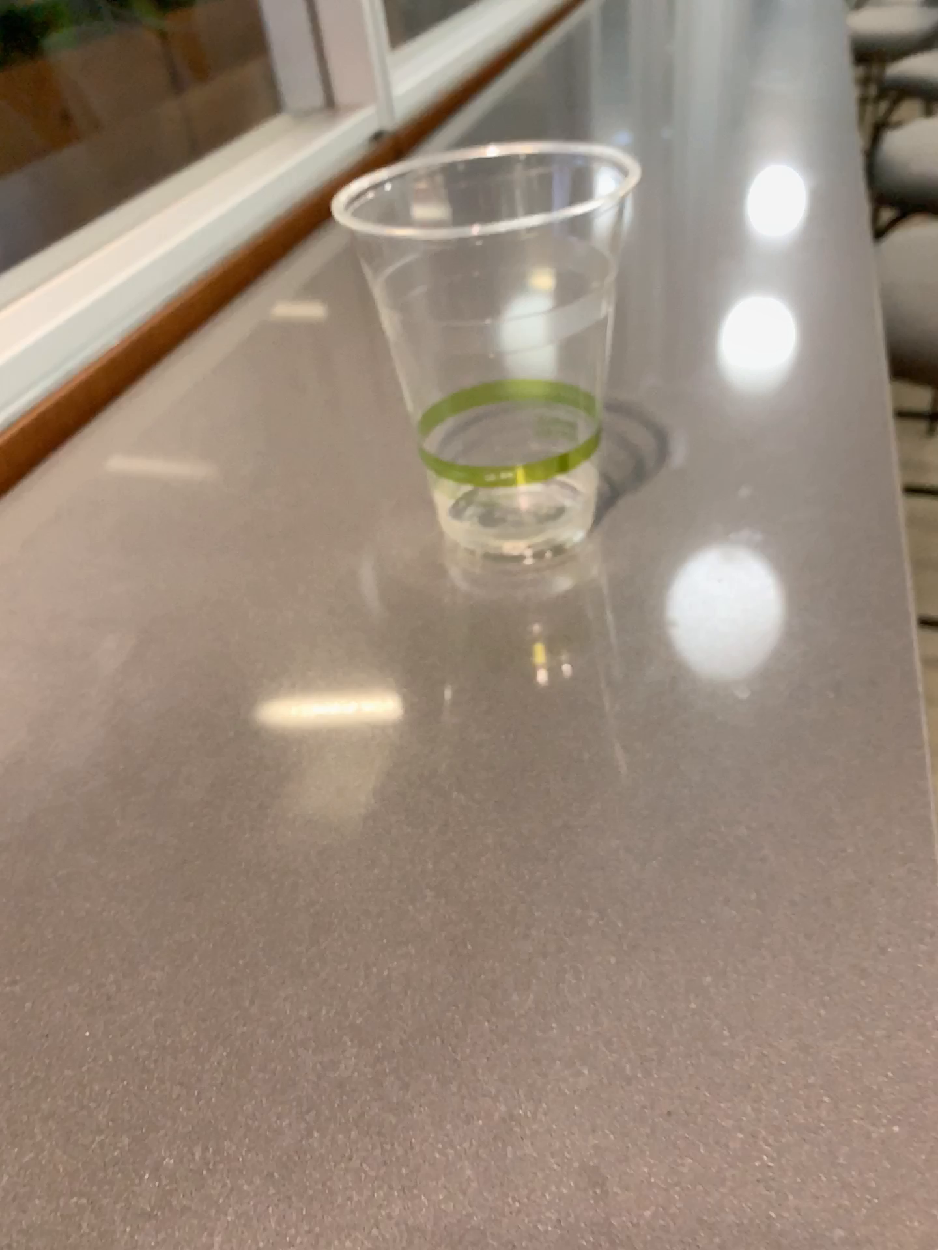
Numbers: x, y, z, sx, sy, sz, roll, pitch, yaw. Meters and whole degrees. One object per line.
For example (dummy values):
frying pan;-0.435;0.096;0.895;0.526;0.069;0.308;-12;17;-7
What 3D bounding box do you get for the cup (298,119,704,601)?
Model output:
cup;0.011;-0.100;0.360;0.100;0.119;0.111;-18;38;-11
